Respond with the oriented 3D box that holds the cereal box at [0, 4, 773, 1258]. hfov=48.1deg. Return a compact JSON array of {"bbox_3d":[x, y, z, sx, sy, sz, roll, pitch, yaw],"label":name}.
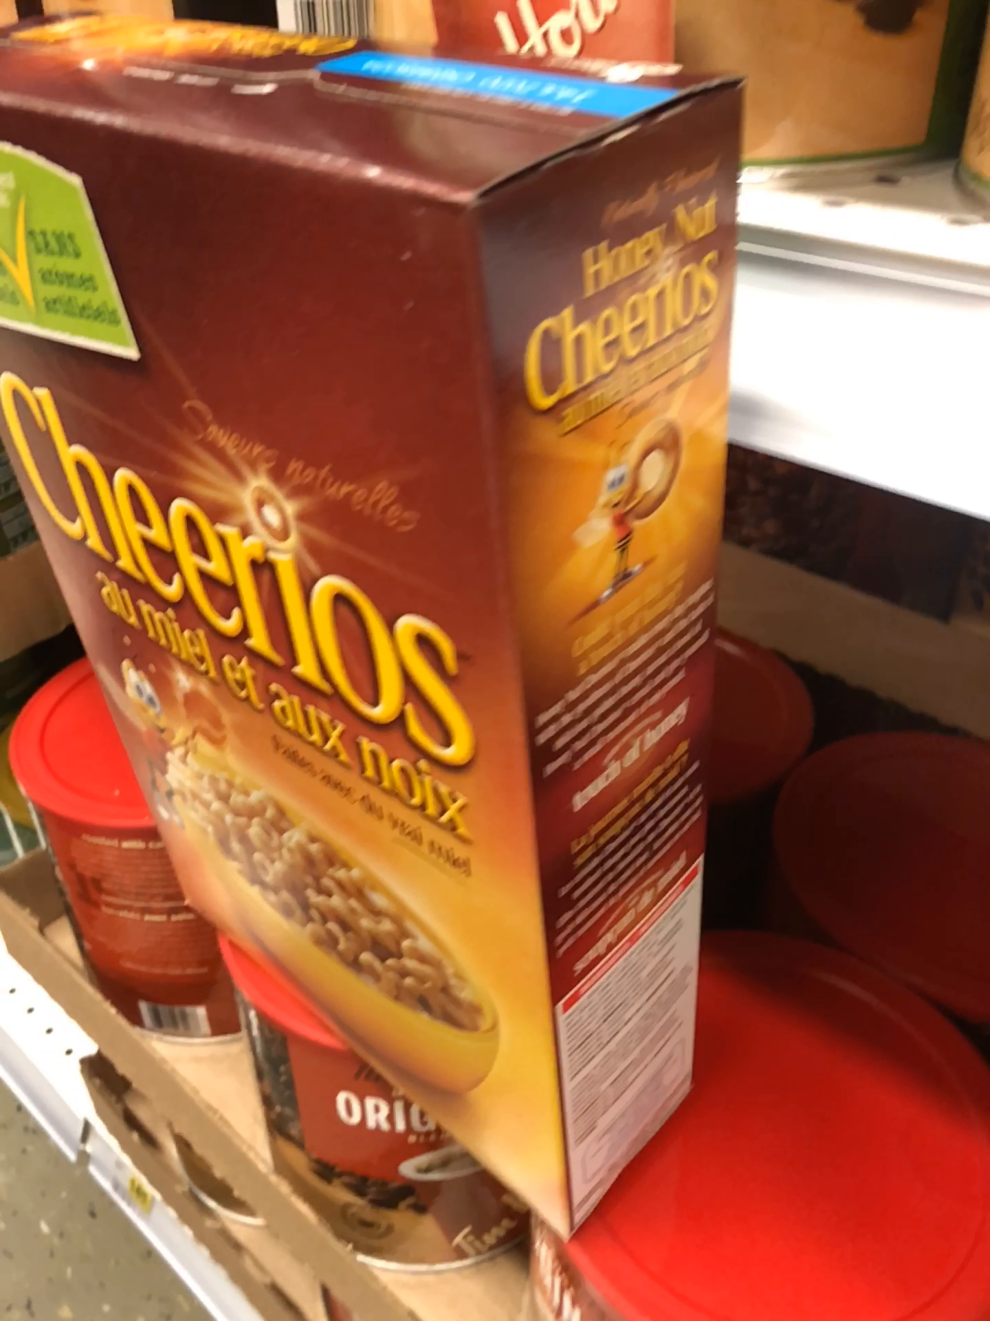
[{"bbox_3d":[-0.040,0.000,0.294,0.200,0.289,0.060,28,49,36],"label":"cereal box"}]
